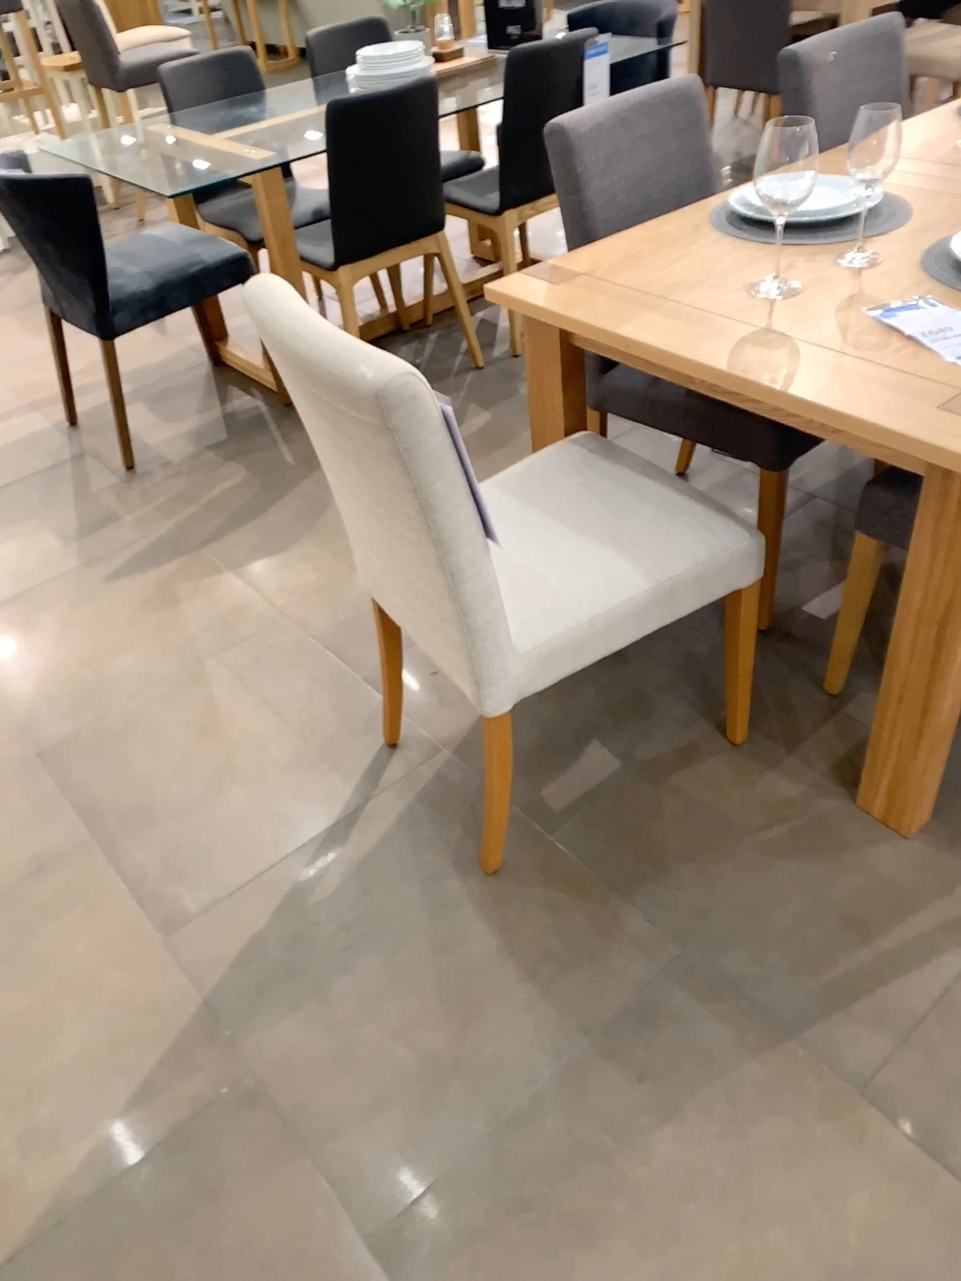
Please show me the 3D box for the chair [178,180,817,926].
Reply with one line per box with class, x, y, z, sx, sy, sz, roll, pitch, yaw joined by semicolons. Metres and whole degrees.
chair;0.033;-0.153;1.512;0.643;0.838;0.540;-24;41;-20
